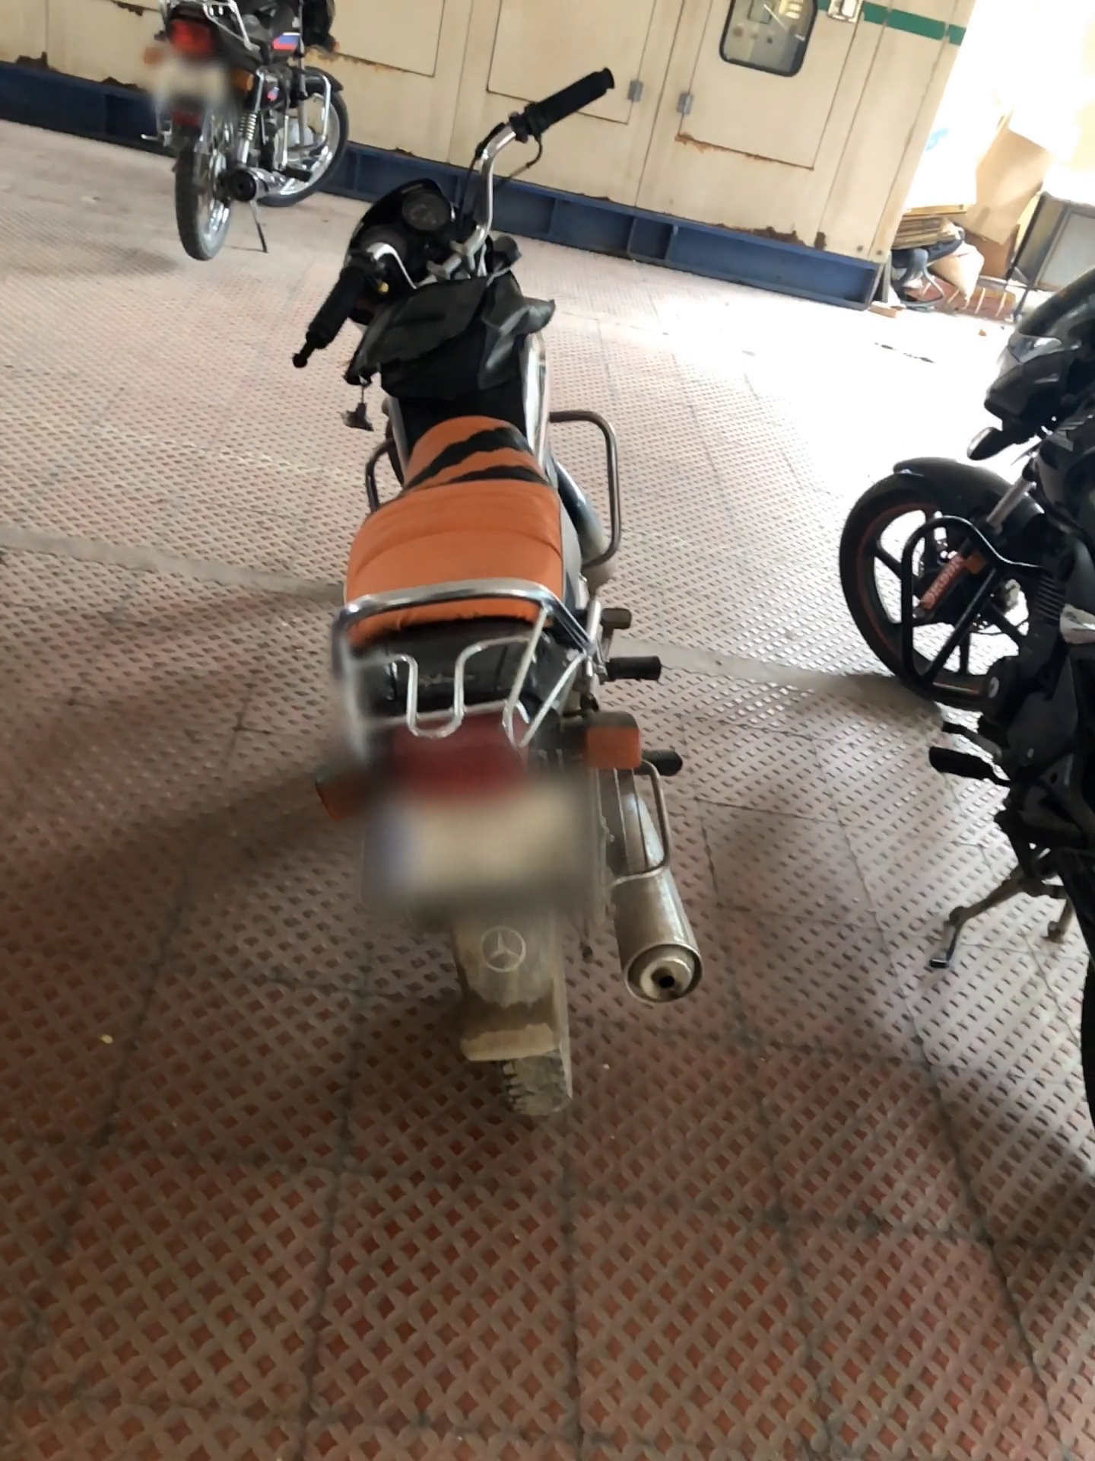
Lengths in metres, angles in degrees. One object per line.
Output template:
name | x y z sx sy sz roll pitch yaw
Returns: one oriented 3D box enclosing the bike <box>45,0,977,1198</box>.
bike | -0.229 -0.290 1.749 0.688 1.123 1.410 6 33 -14
